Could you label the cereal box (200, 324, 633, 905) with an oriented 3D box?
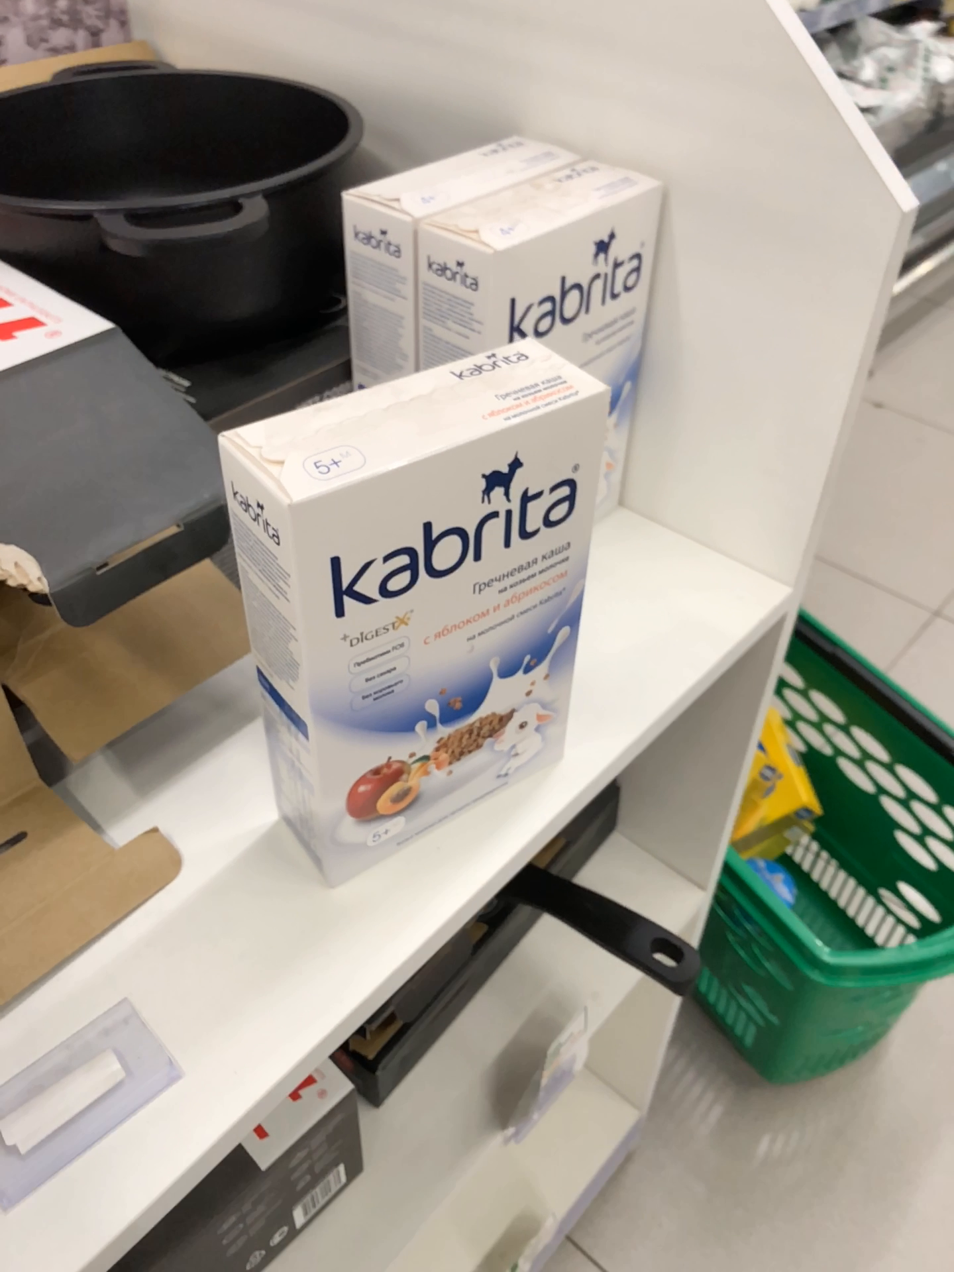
[{"bbox_3d":[-0.019,-0.003,0.419,0.140,0.199,0.050,-25,48,-27],"label":"cereal box"}]
